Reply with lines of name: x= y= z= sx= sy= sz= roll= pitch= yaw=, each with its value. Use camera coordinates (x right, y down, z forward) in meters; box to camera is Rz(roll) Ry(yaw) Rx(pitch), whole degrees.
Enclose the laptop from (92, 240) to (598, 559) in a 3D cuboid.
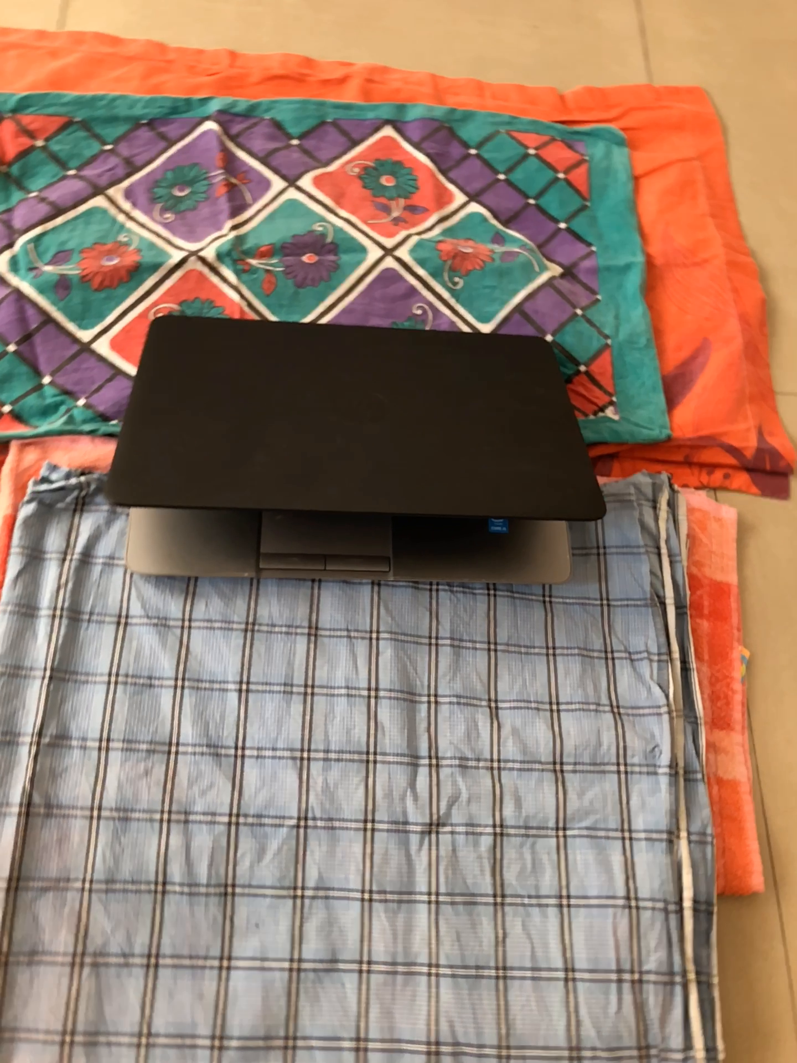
laptop: x=-0.037 y=-0.093 z=0.654 sx=0.322 sy=0.099 sz=0.213 roll=1 pitch=63 yaw=-9
